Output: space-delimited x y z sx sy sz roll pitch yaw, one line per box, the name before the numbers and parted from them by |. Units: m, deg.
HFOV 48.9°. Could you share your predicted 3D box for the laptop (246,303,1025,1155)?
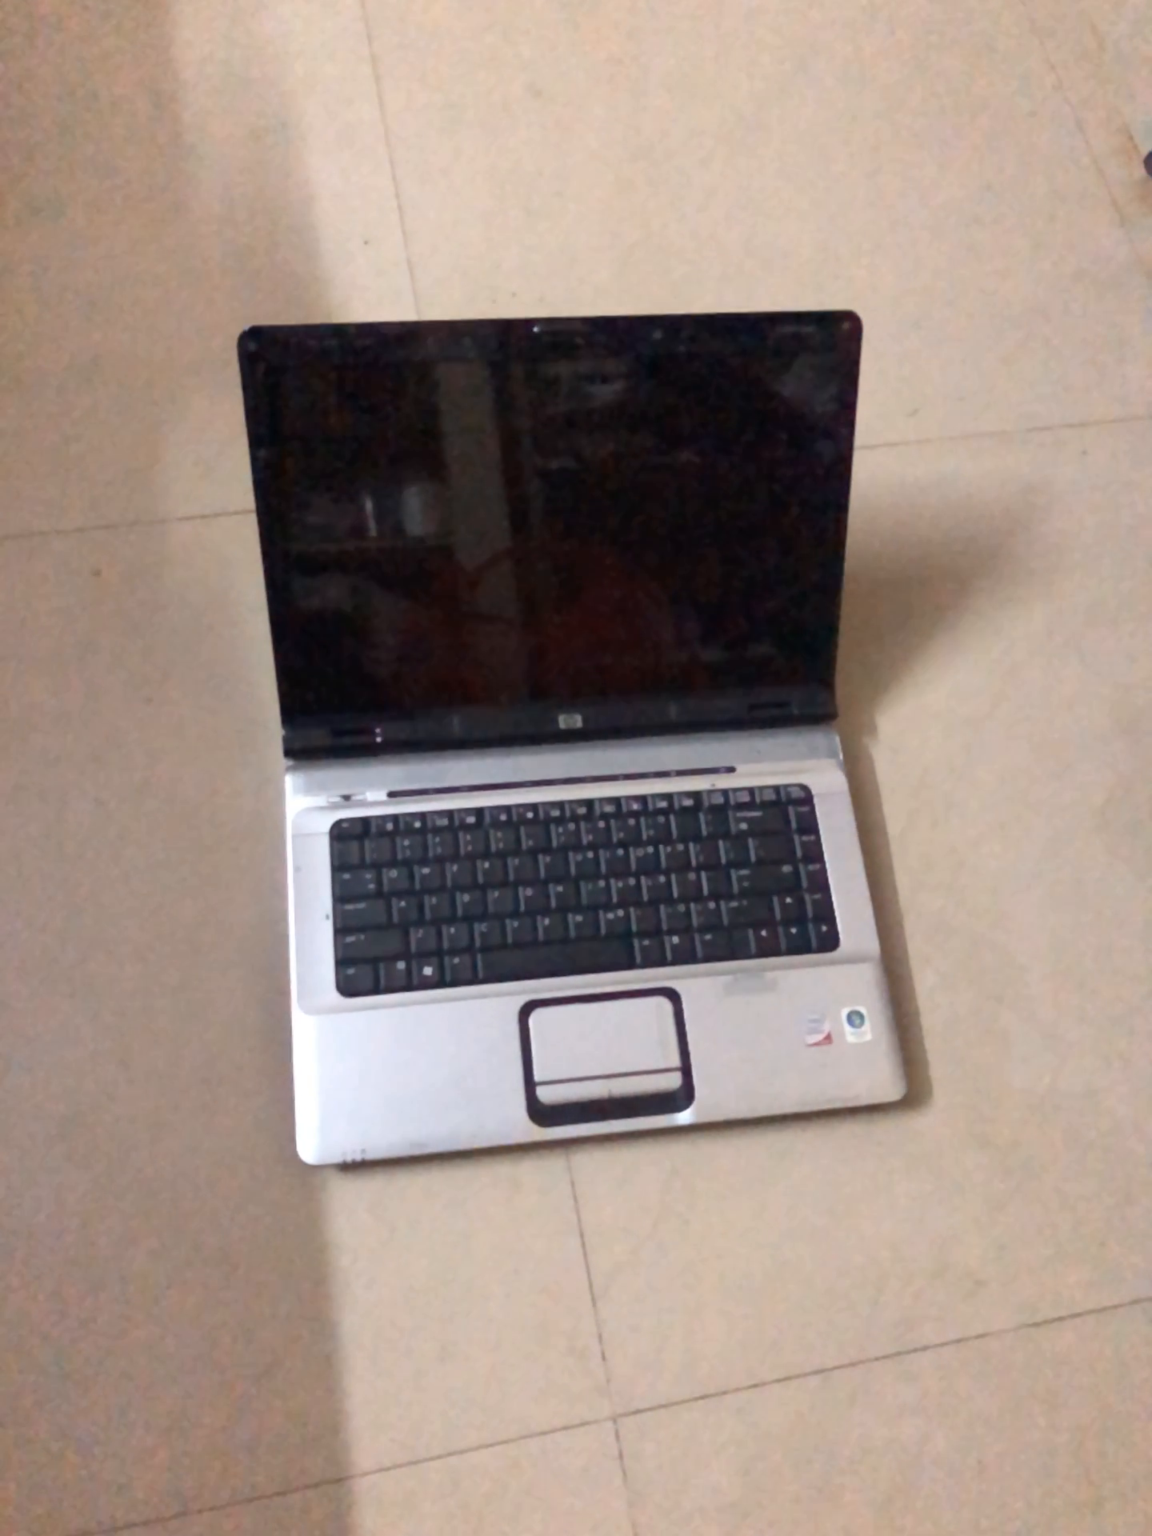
laptop | 0.007 -0.026 0.696 0.338 0.167 0.410 -4 70 -8
